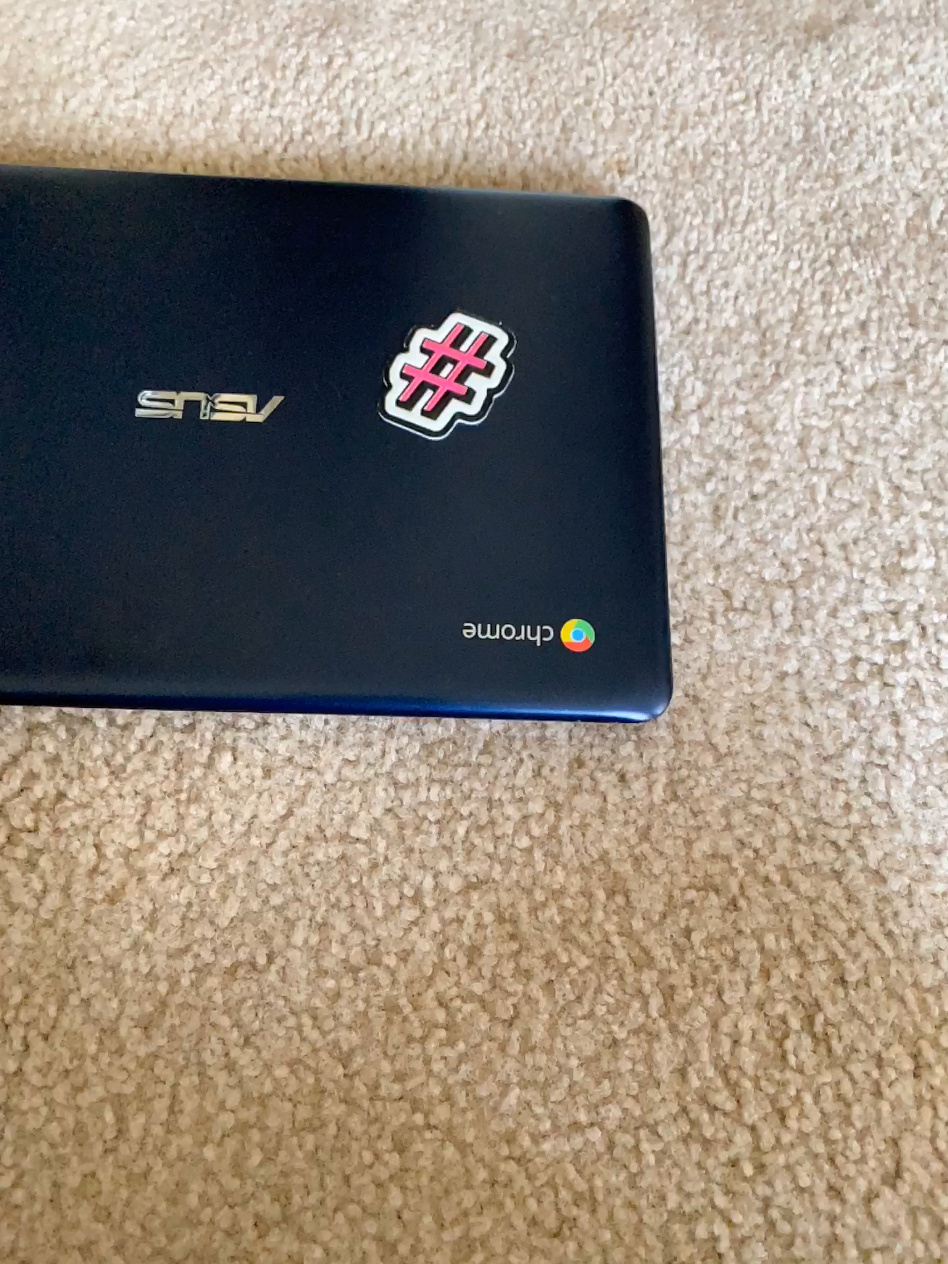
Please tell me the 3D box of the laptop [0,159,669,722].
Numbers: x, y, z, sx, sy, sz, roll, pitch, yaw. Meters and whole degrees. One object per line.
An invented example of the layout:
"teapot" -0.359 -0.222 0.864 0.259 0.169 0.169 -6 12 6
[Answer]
"laptop" -0.079 -0.066 0.308 0.271 0.006 0.181 2 71 -3
